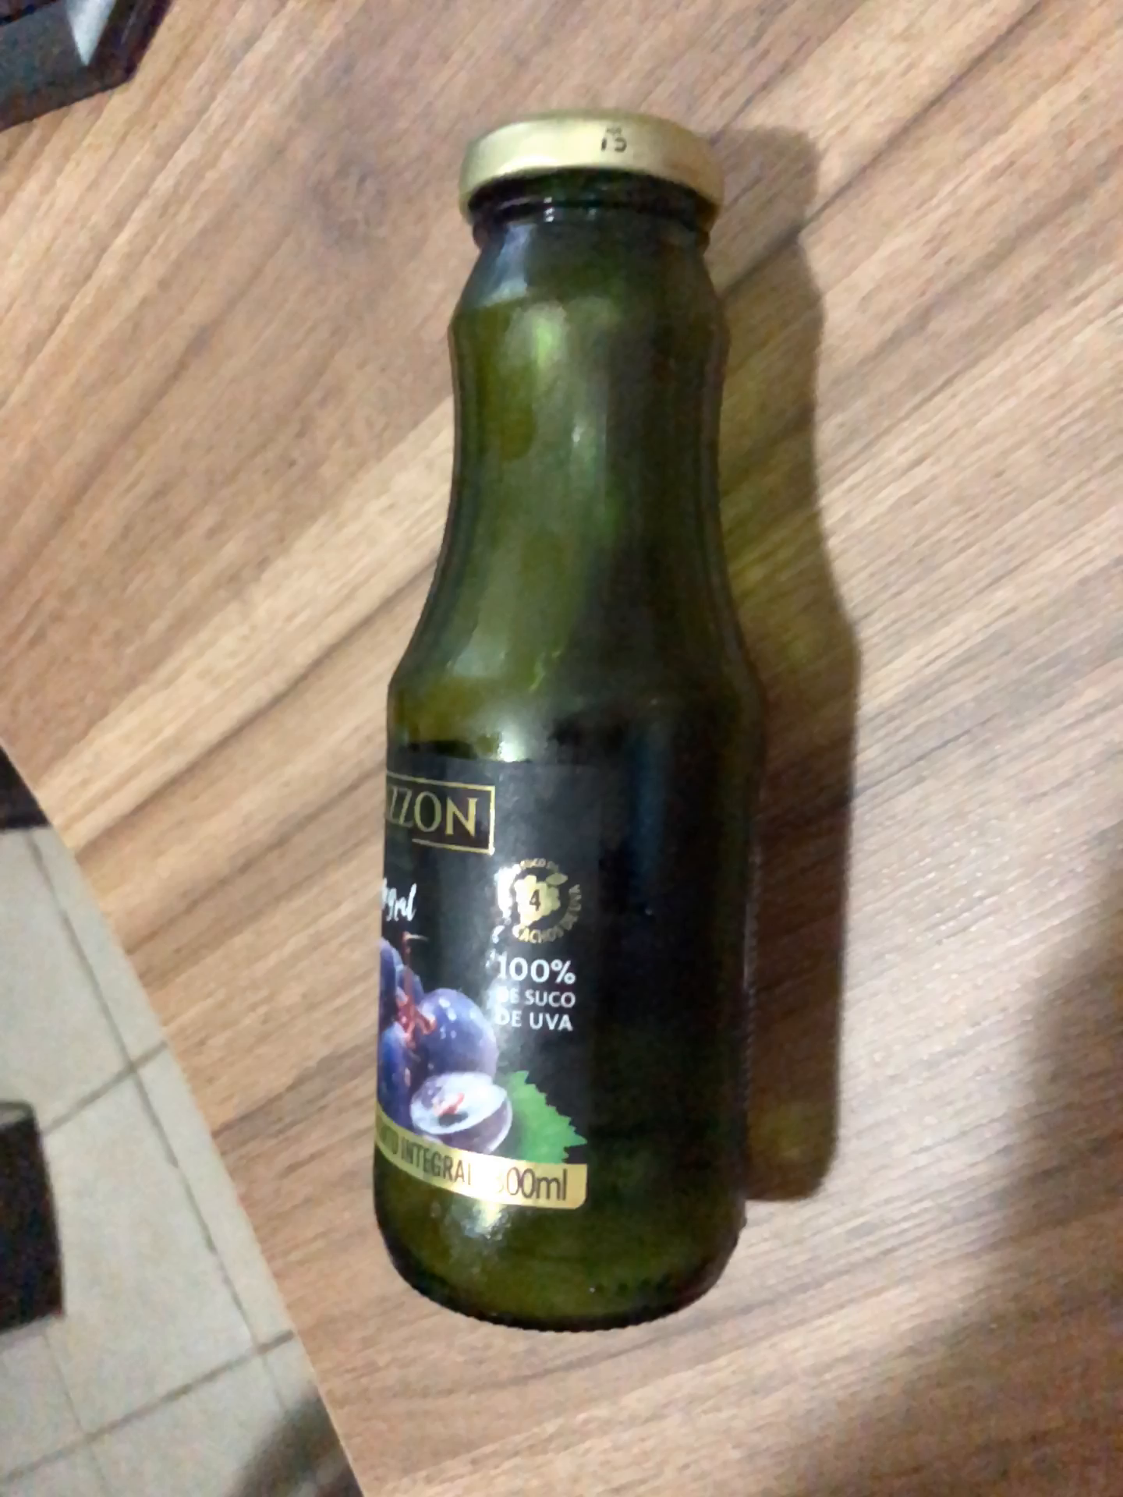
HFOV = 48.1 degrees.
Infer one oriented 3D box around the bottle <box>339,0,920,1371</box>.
[{"bbox_3d":[0.005,-0.016,0.214,0.070,0.070,0.200,-168,78,-68],"label":"bottle"}]
